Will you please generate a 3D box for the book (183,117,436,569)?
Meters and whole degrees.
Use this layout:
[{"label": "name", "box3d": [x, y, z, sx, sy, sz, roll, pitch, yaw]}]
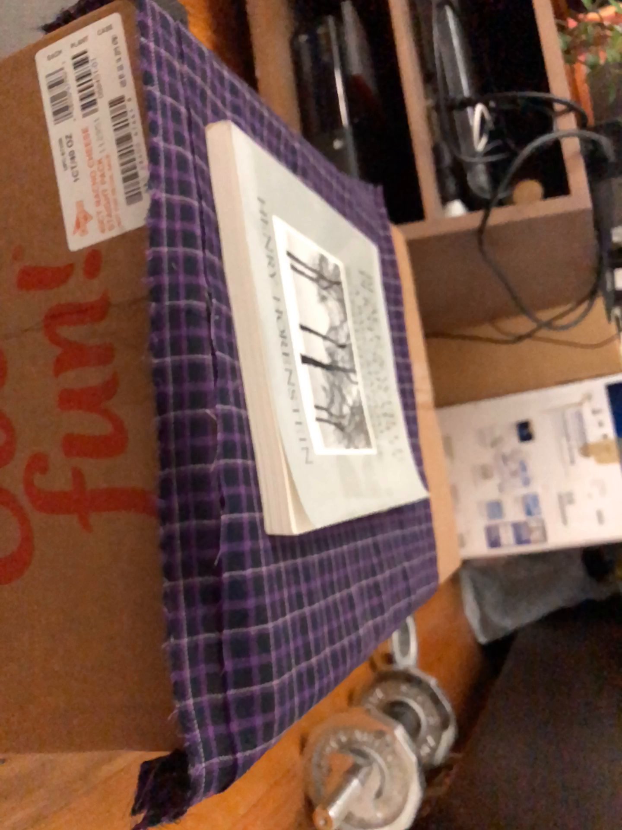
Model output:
[{"label": "book", "box3d": [0.017, -0.030, 0.440, 0.251, 0.030, 0.210, 6, 73, -67]}]
